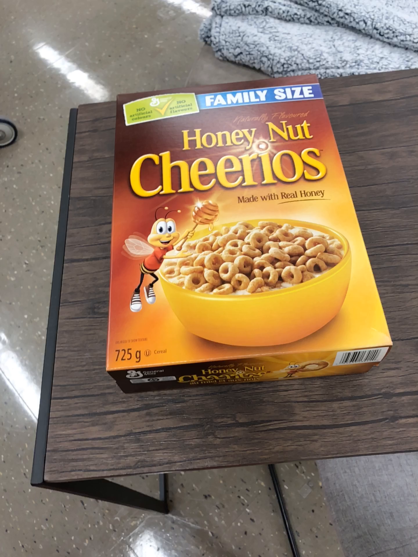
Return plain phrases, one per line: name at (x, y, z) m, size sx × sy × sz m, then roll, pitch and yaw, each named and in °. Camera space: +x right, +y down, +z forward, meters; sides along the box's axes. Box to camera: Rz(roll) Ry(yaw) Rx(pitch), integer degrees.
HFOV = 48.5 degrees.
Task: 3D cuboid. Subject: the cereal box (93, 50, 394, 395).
cereal box at (0.018, -0.082, 0.513) m, size 0.250 × 0.080 × 0.381 m, roll -6°, pitch 60°, yaw 3°
